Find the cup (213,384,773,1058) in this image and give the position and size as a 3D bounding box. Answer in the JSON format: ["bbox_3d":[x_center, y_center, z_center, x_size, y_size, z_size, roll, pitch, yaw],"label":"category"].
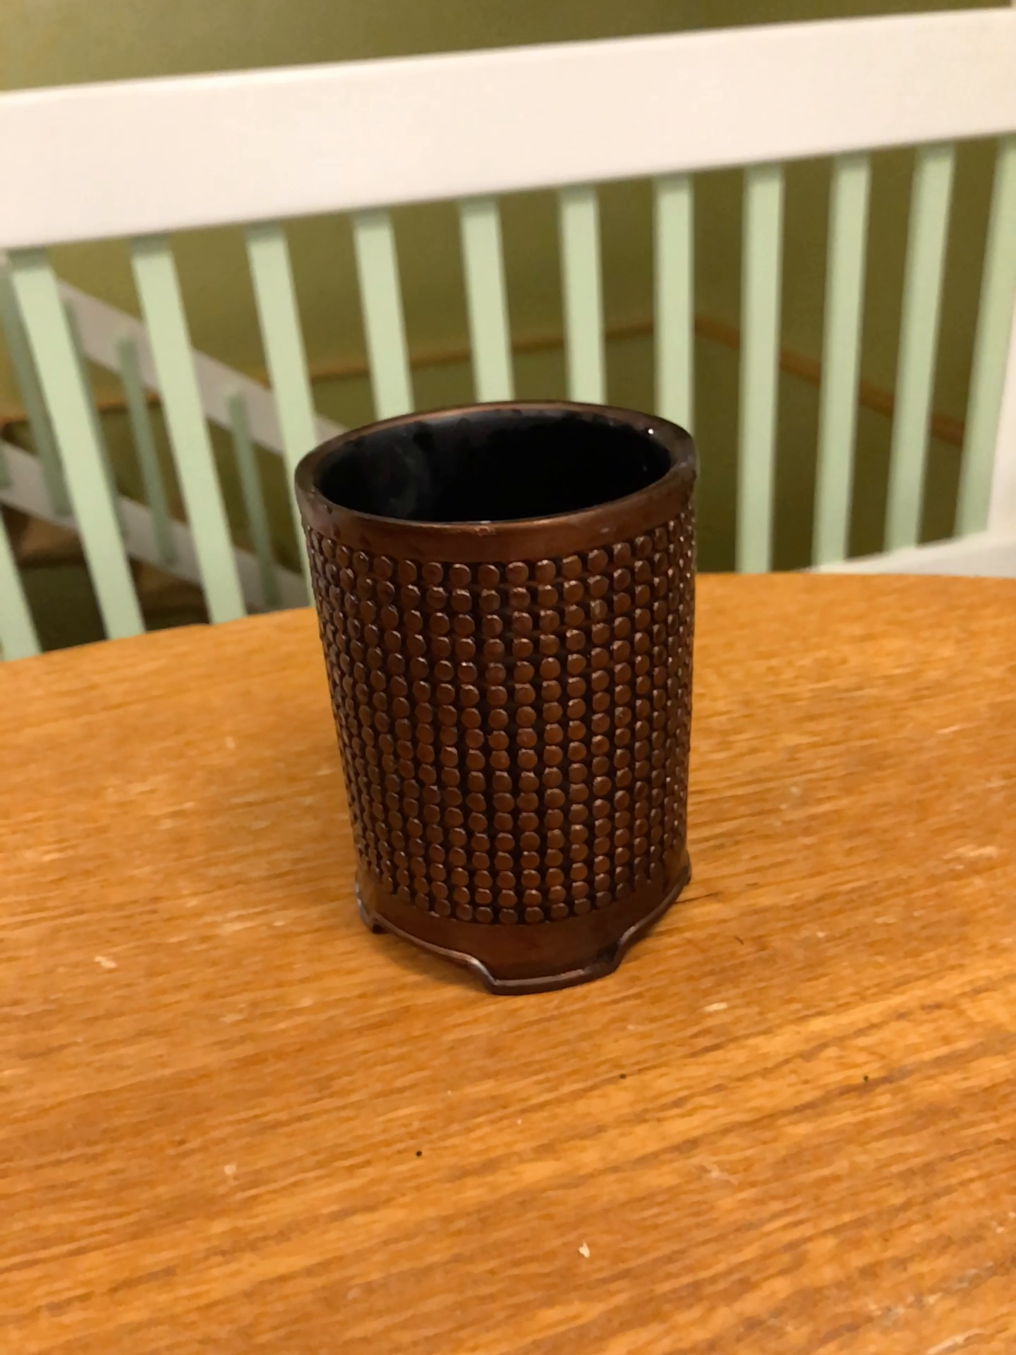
[{"bbox_3d":[-0.002,0.002,0.233,0.073,0.097,0.078,-3,28,2],"label":"cup"}]
